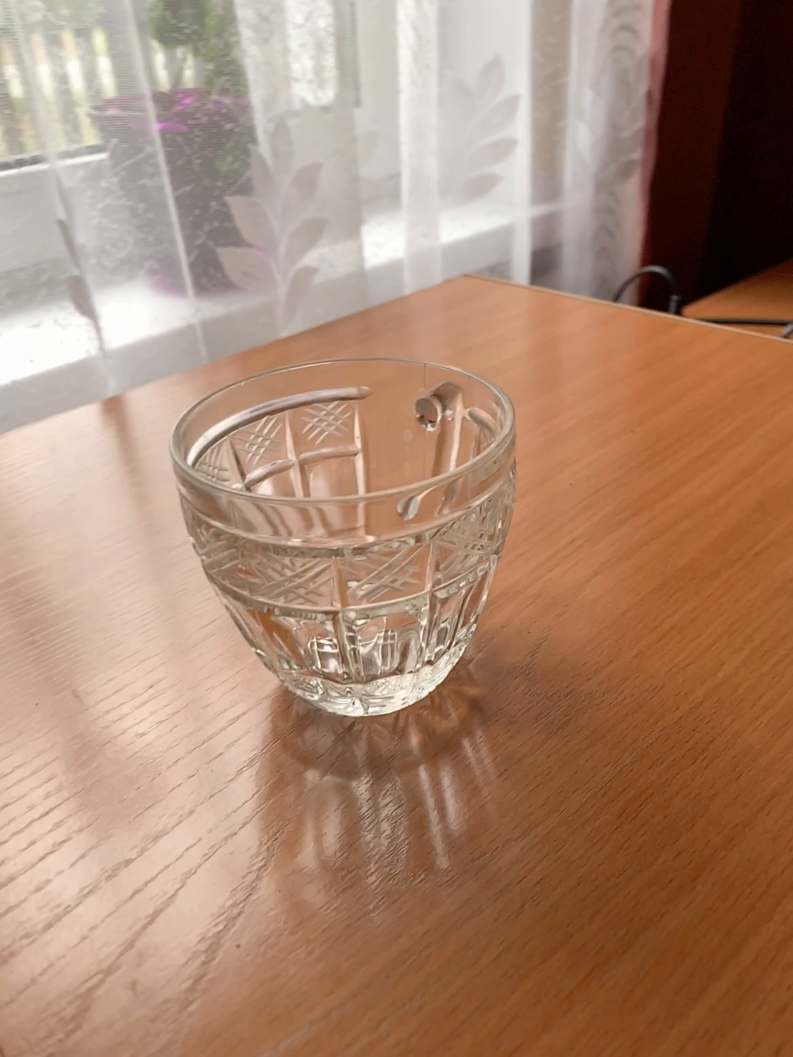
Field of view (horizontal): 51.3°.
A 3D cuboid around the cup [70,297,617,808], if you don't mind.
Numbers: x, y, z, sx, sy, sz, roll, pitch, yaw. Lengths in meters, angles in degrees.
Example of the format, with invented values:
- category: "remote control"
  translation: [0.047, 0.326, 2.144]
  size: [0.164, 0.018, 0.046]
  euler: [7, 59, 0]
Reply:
- category: "cup"
  translation: [-0.007, -0.005, 0.210]
  size: [0.082, 0.066, 0.101]
  euler: [21, 41, 30]
